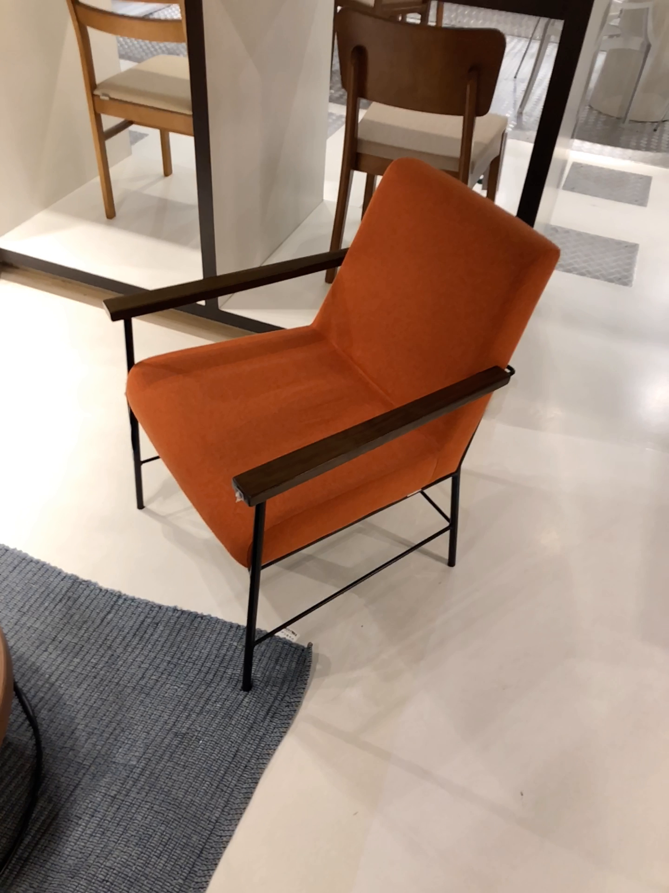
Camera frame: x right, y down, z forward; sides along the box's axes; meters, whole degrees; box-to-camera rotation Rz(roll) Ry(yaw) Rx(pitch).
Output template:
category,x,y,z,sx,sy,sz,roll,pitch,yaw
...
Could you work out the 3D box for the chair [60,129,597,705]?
category,x,y,z,sx,sy,sz,roll,pitch,yaw
chair,-0.051,-0.088,1.561,0.702,0.824,0.653,-21,49,-25
